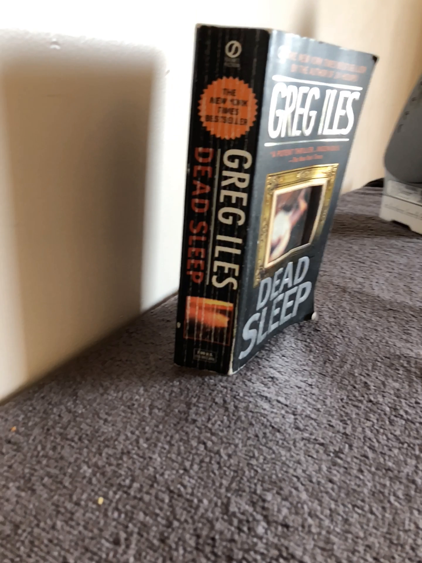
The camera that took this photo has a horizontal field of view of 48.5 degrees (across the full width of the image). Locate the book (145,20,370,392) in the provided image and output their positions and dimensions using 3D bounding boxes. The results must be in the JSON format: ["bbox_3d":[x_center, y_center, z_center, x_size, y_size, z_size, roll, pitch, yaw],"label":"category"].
[{"bbox_3d":[0.028,-0.046,0.266,0.061,0.163,0.123,17,25,26],"label":"book"}]
